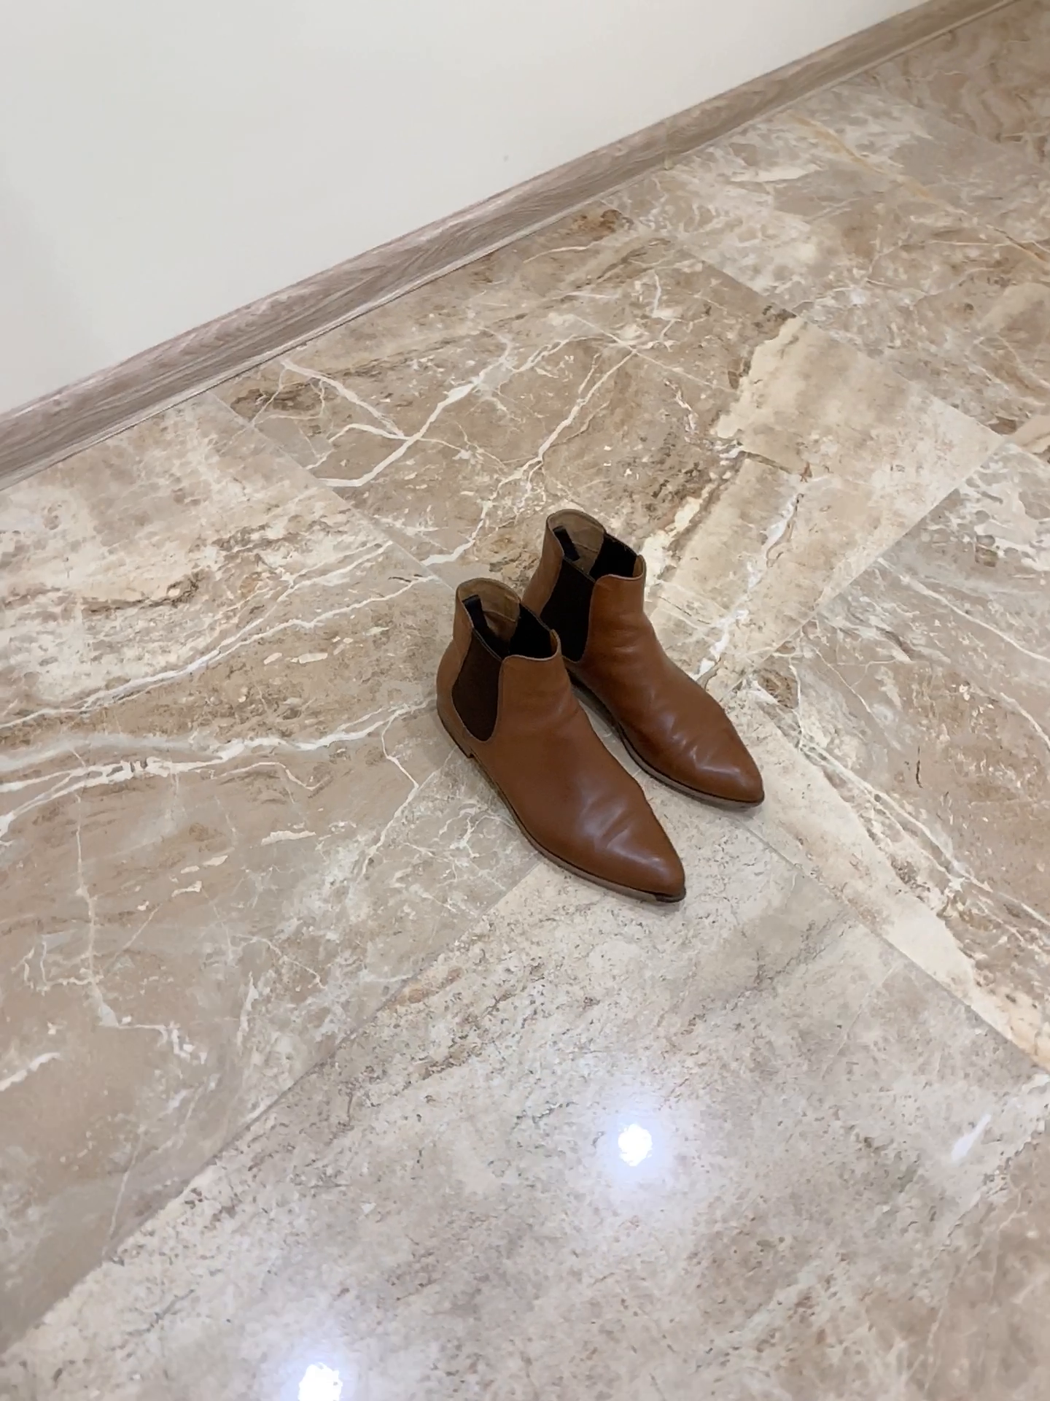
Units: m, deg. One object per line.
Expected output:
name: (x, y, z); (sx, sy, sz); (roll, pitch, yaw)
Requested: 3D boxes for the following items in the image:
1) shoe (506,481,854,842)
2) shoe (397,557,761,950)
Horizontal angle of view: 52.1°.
shoe: (0.106, -0.034, 0.819); (0.090, 0.119, 0.251); (-32, 63, -27)
shoe: (0.026, 0.035, 0.766); (0.090, 0.129, 0.250); (-36, 65, -29)
